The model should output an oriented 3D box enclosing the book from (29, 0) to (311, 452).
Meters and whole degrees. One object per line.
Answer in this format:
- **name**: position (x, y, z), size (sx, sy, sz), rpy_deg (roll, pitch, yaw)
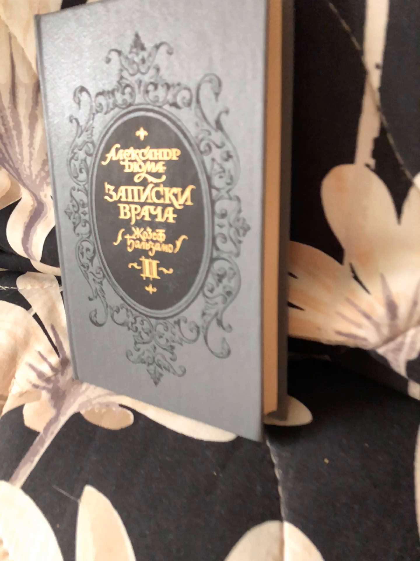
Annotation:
- **book**: position (-0.026, -0.031, 0.246), size (0.140, 0.030, 0.210), rpy_deg (9, 108, 30)
